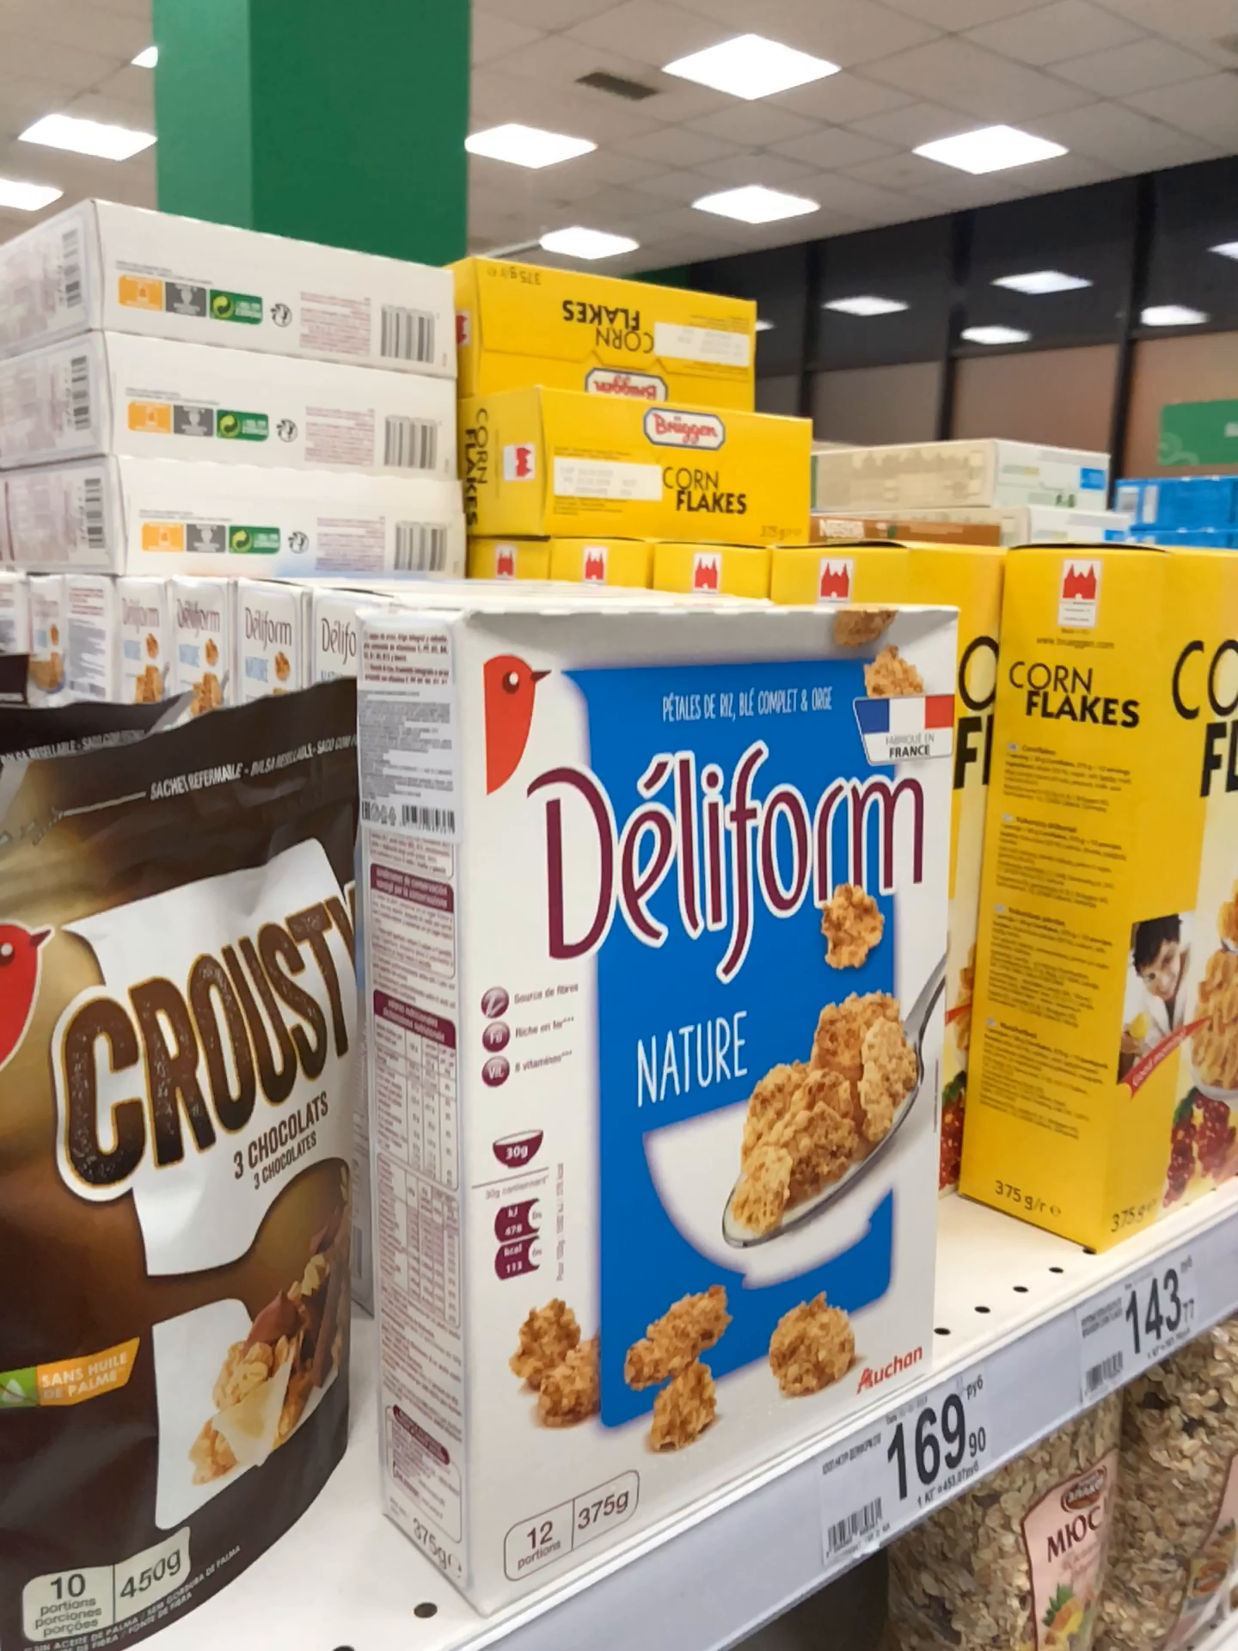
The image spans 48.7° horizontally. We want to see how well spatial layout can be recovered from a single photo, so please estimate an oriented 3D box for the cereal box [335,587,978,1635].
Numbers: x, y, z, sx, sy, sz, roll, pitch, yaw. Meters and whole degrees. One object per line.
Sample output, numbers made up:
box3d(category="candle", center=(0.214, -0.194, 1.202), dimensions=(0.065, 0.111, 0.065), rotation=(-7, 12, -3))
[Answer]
box3d(category="cereal box", center=(0.020, 0.064, 0.423), dimensions=(0.200, 0.269, 0.060), rotation=(-7, 11, -40))
